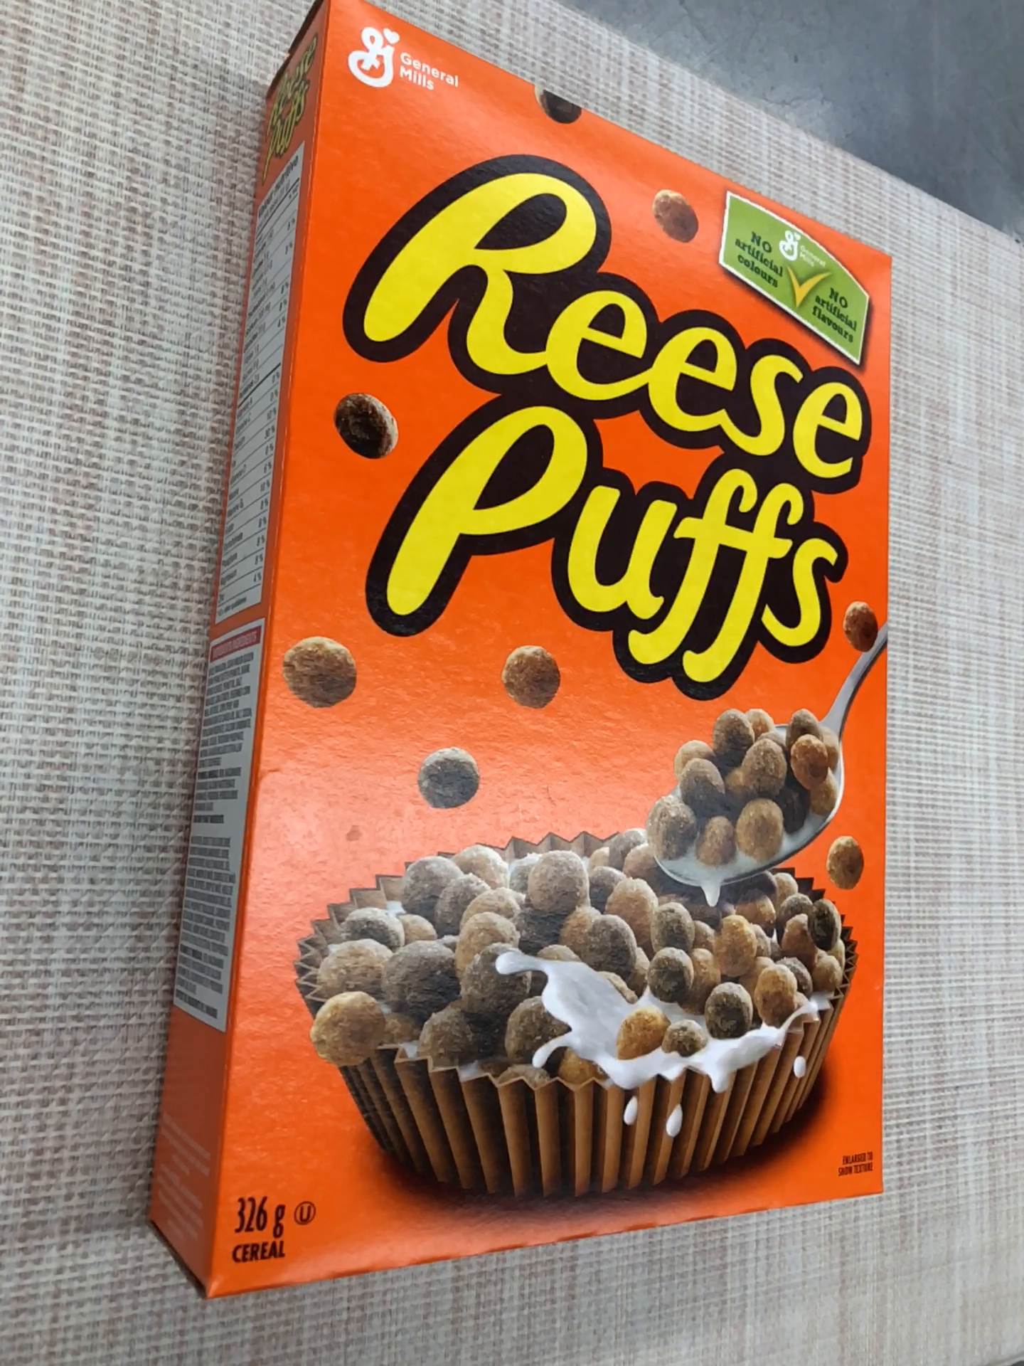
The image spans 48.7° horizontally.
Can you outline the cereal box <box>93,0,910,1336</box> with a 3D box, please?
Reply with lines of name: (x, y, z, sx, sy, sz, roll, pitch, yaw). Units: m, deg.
cereal box: (0.015, -0.007, 0.302, 0.201, 0.060, 0.280, 9, 81, -35)
